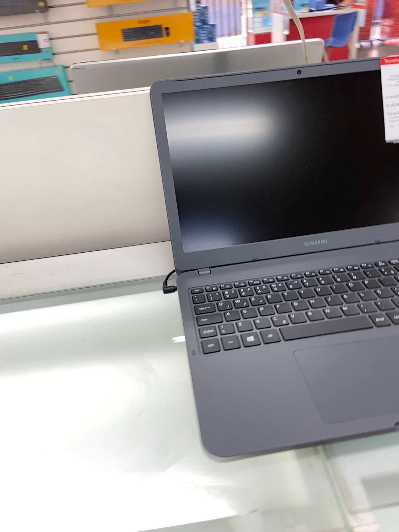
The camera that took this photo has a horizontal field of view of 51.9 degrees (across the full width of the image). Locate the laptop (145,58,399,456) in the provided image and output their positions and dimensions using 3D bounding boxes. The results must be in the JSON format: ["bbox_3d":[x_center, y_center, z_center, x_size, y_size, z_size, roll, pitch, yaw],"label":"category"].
[{"bbox_3d":[0.146,-0.058,0.412,0.360,0.197,0.353,-8,34,-4],"label":"laptop"}]
